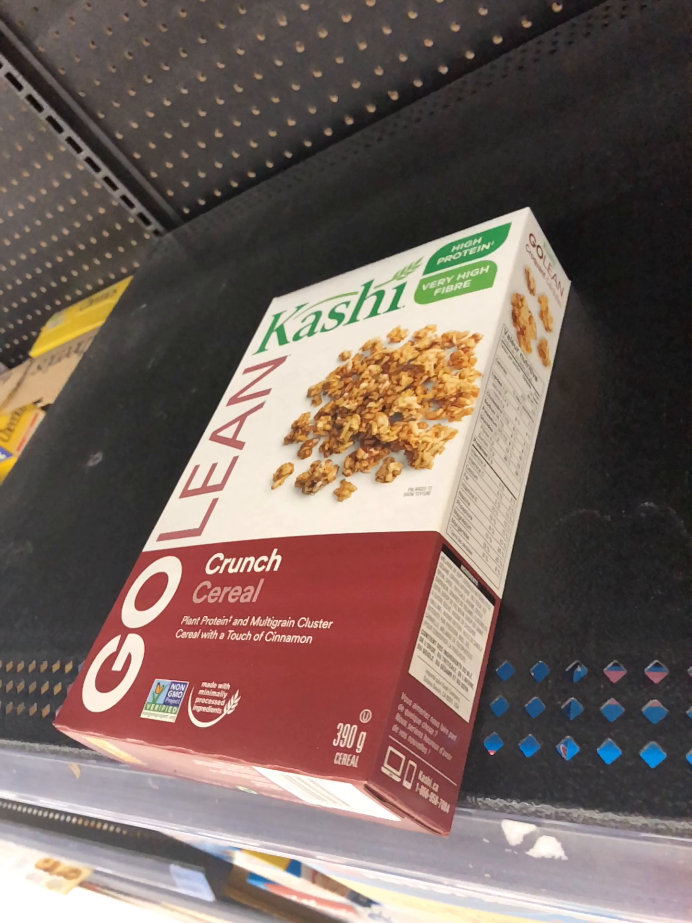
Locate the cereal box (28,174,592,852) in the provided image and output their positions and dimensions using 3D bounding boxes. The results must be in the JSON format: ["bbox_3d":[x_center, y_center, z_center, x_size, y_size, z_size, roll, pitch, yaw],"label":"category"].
[{"bbox_3d":[-0.001,0.002,0.355,0.181,0.050,0.290,-10,45,37],"label":"cereal box"}]
